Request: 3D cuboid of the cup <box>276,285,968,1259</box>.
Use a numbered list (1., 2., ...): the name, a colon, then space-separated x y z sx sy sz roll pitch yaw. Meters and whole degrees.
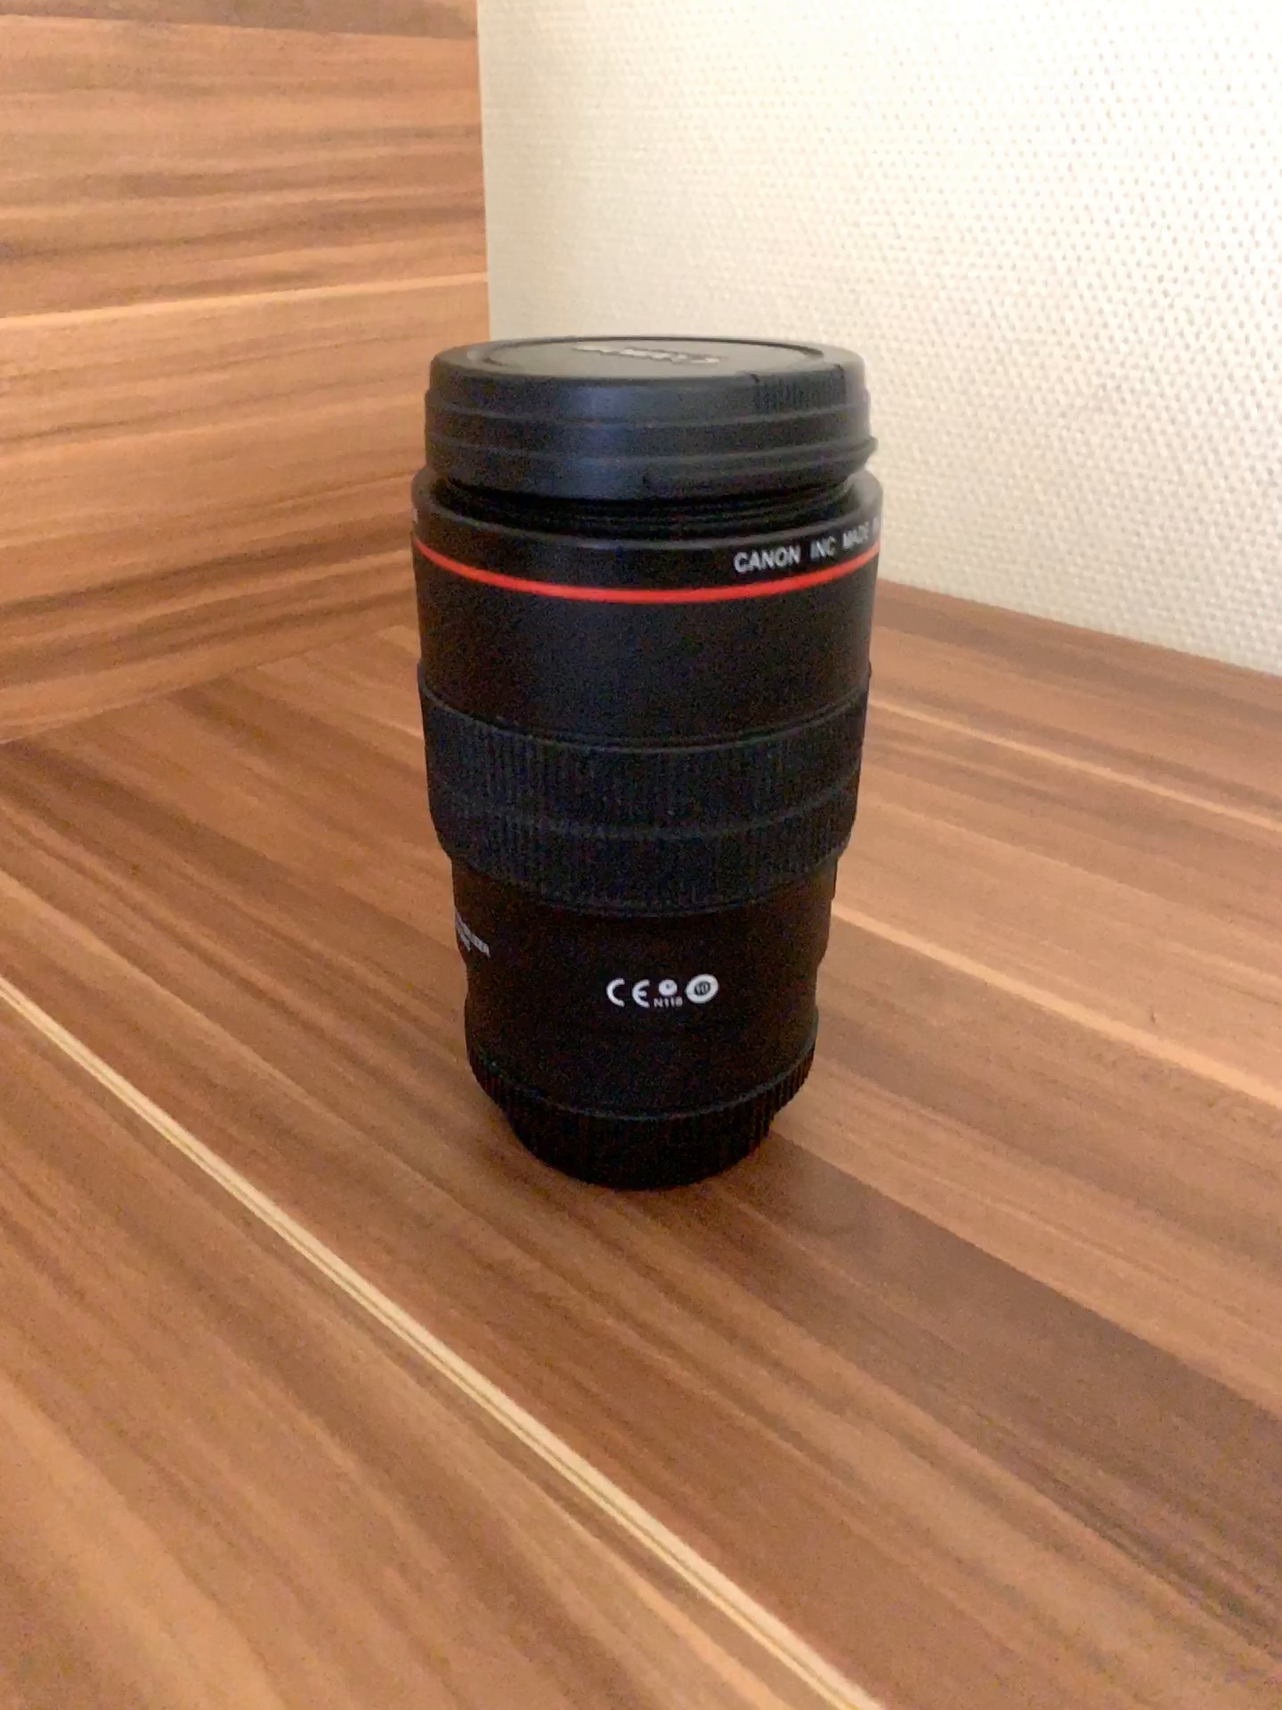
1. cup: 0.000 -0.018 0.230 0.080 0.139 0.070 13 31 22
